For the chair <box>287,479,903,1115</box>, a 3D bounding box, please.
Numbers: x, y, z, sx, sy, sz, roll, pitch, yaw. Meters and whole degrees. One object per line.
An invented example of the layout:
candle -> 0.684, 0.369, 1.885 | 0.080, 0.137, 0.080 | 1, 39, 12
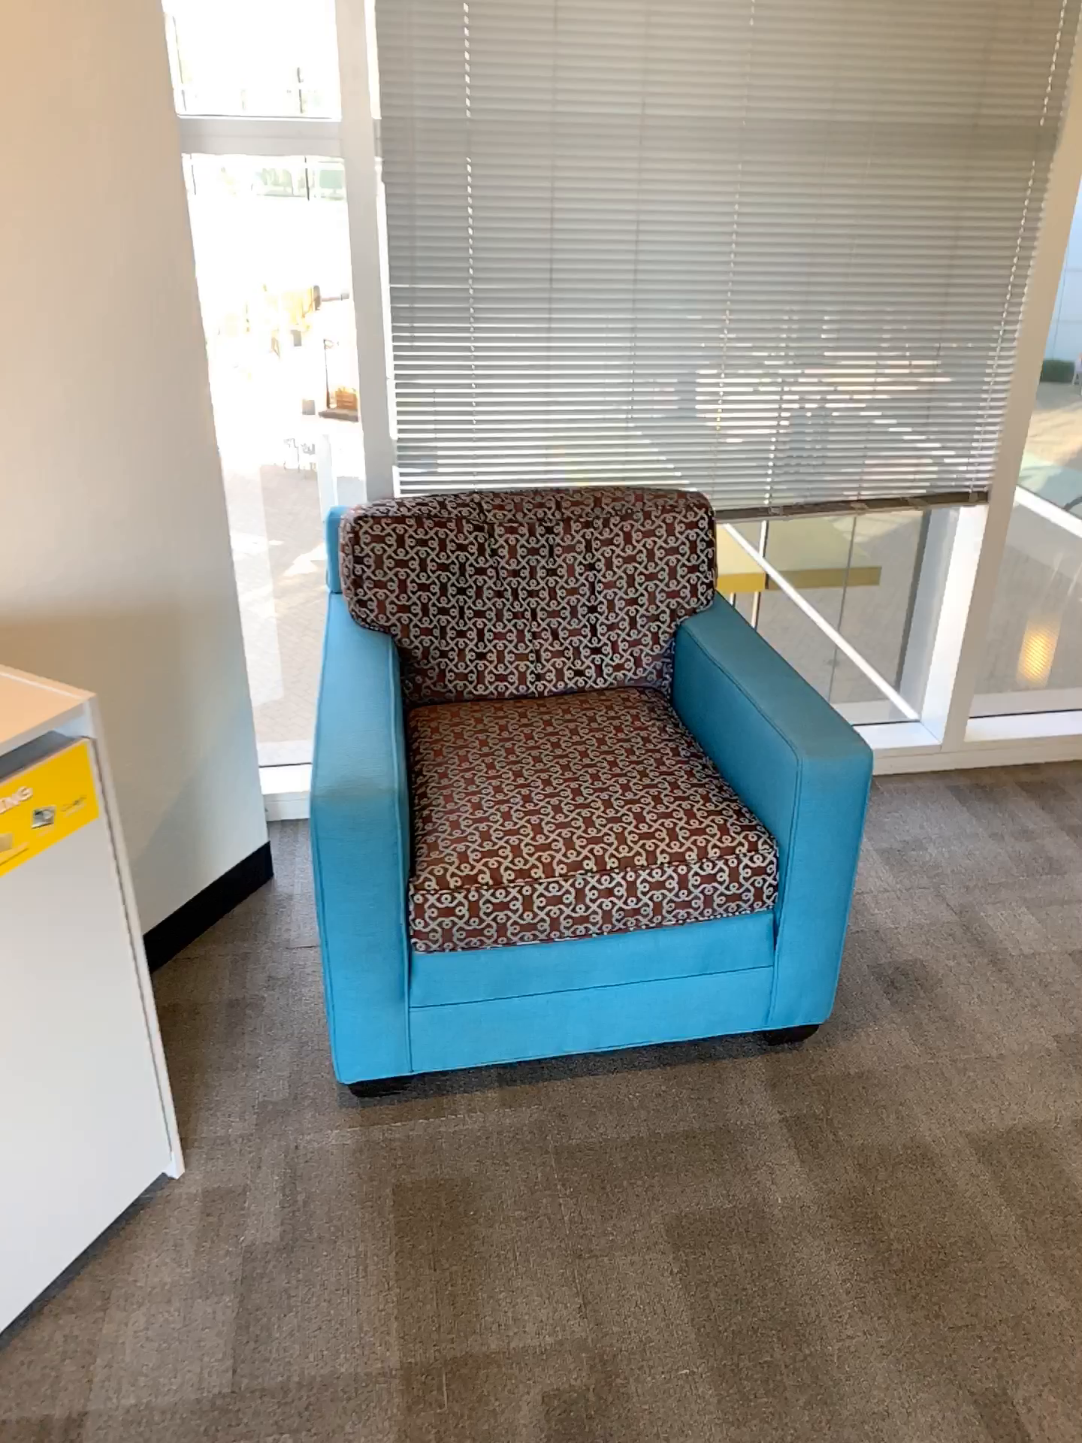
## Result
chair -> 0.019, 0.068, 2.188 | 0.910, 0.825, 0.926 | -4, 28, -8
